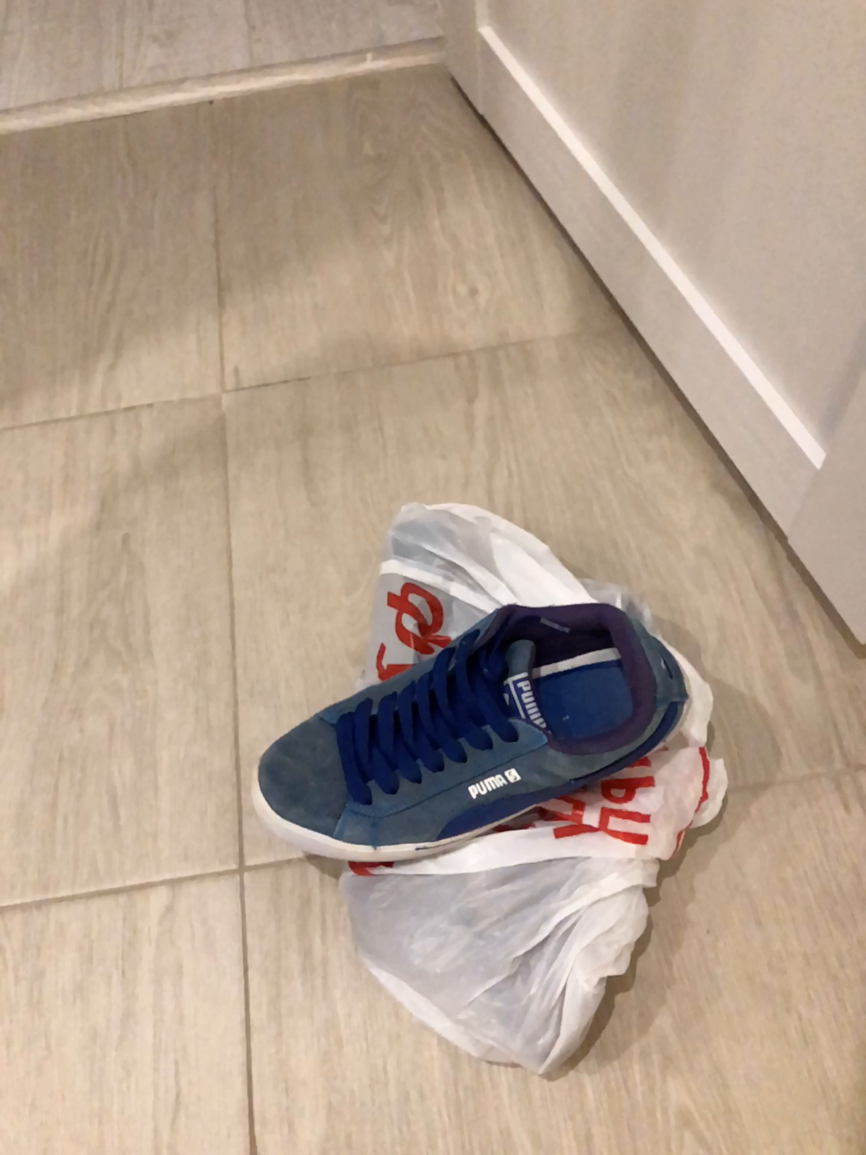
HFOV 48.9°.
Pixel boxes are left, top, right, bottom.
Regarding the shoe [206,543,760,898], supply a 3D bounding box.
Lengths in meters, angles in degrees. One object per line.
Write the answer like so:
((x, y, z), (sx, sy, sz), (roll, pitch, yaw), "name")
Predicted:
((0.027, 0.088, 0.586), (0.300, 0.099, 0.111), (-15, 53, -3), "shoe")
